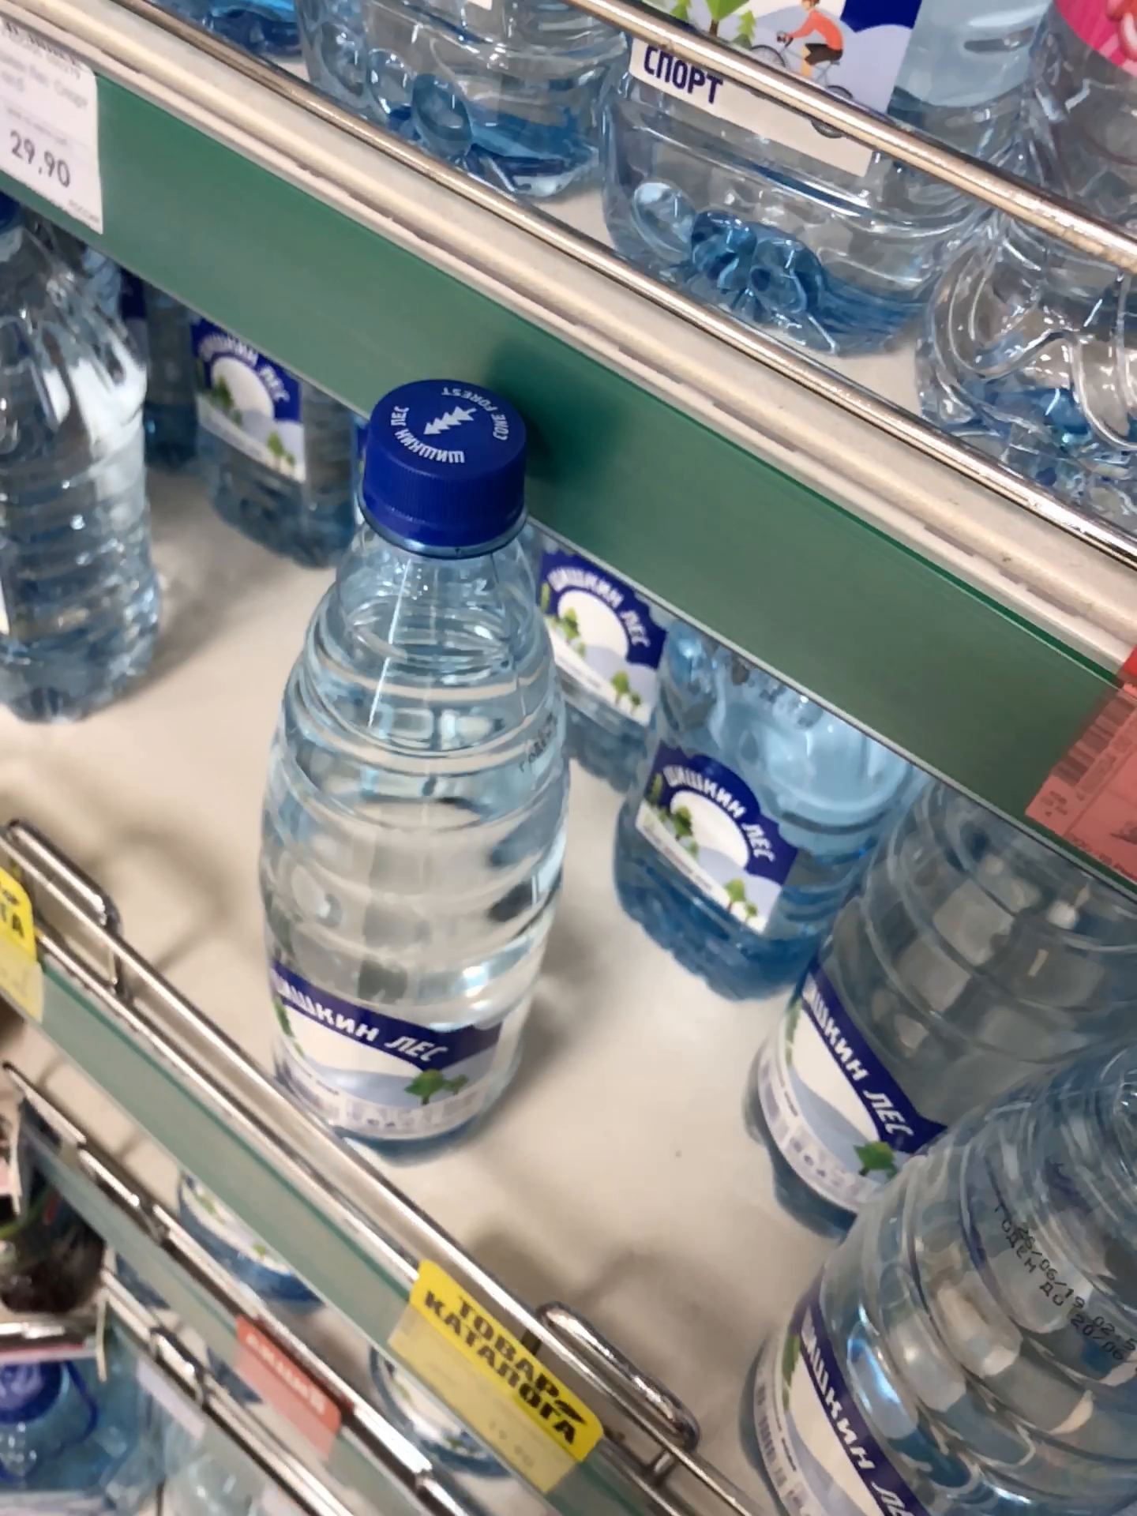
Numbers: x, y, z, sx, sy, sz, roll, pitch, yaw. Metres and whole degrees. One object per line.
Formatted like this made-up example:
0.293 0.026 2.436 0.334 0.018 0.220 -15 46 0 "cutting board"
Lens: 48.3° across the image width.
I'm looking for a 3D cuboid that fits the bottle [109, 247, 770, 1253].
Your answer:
-0.038 0.025 0.335 0.090 0.272 0.080 30 52 15 "bottle"
